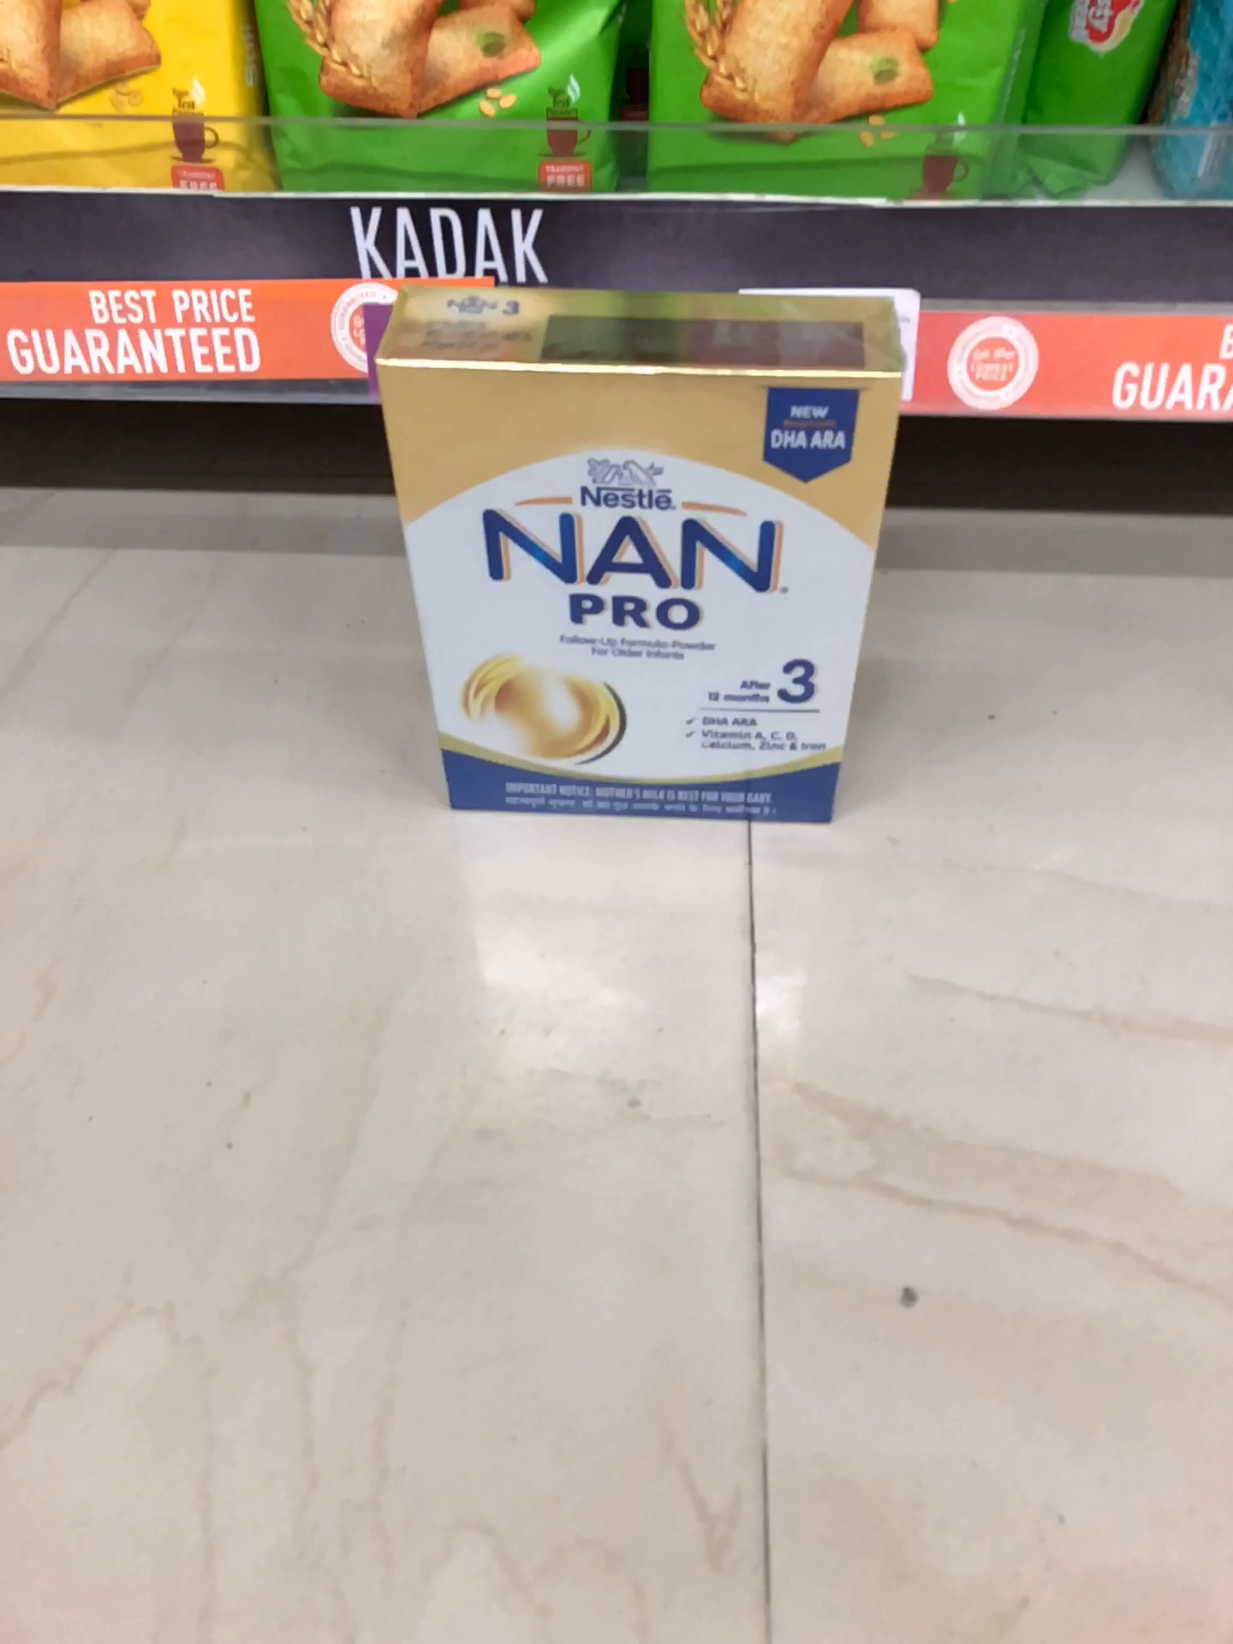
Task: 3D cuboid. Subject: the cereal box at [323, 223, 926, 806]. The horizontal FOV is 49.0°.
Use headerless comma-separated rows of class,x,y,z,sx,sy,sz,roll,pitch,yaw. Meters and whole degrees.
cereal box,0.003,-0.090,0.446,0.160,0.189,0.050,3,49,3
